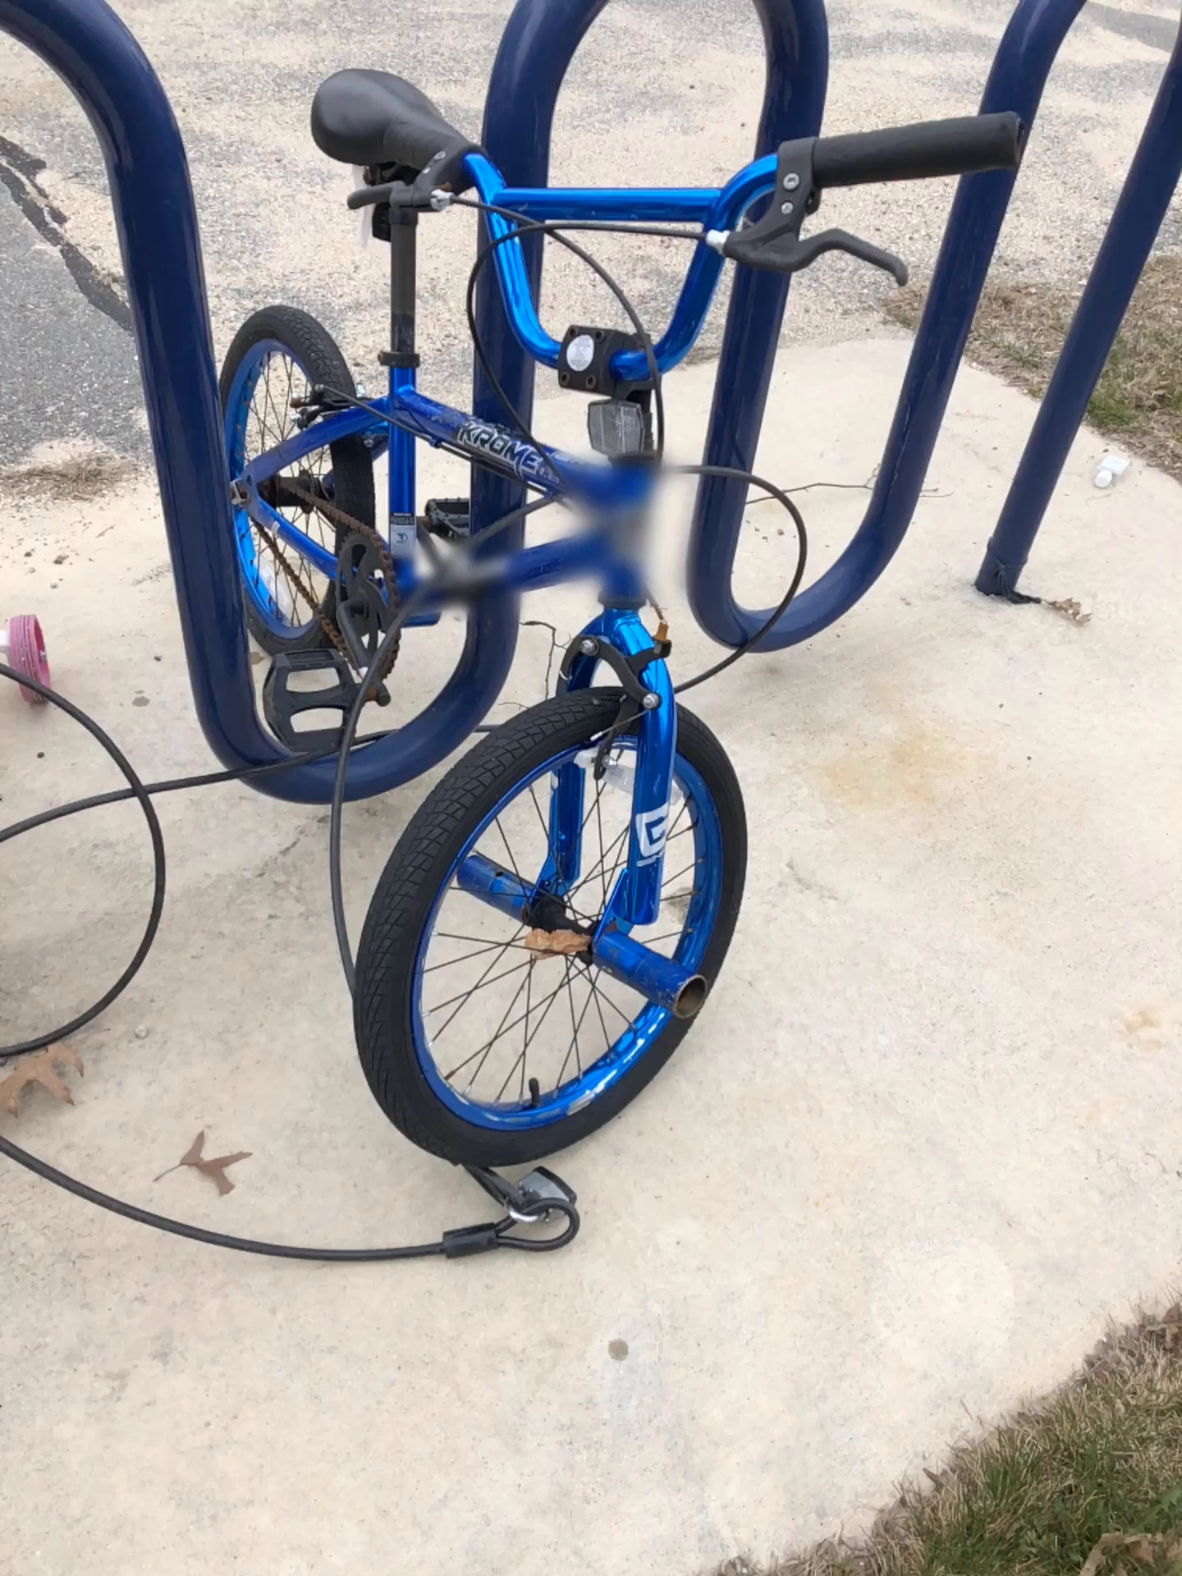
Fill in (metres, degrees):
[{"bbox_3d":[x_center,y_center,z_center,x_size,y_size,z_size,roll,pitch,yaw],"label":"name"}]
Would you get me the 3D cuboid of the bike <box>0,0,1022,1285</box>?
[{"bbox_3d":[-0.193,-0.317,1.301,0.622,0.840,1.034,-10,42,-17],"label":"bike"}]
